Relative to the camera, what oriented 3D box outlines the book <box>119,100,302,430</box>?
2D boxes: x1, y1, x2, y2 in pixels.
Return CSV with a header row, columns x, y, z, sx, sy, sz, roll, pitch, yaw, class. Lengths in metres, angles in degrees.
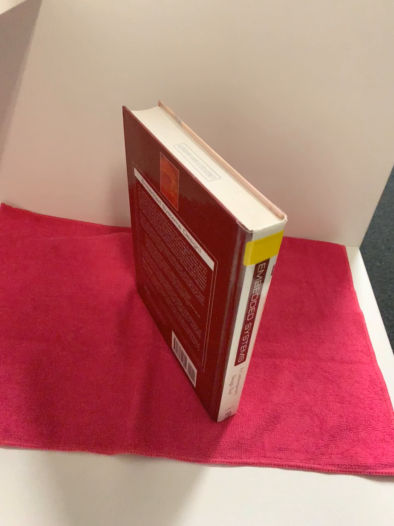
x,y,z,sx,sy,sz,roll,pitch,yaw,class
-0.009,0.007,0.408,0.044,0.258,0.213,-19,47,-22,book
